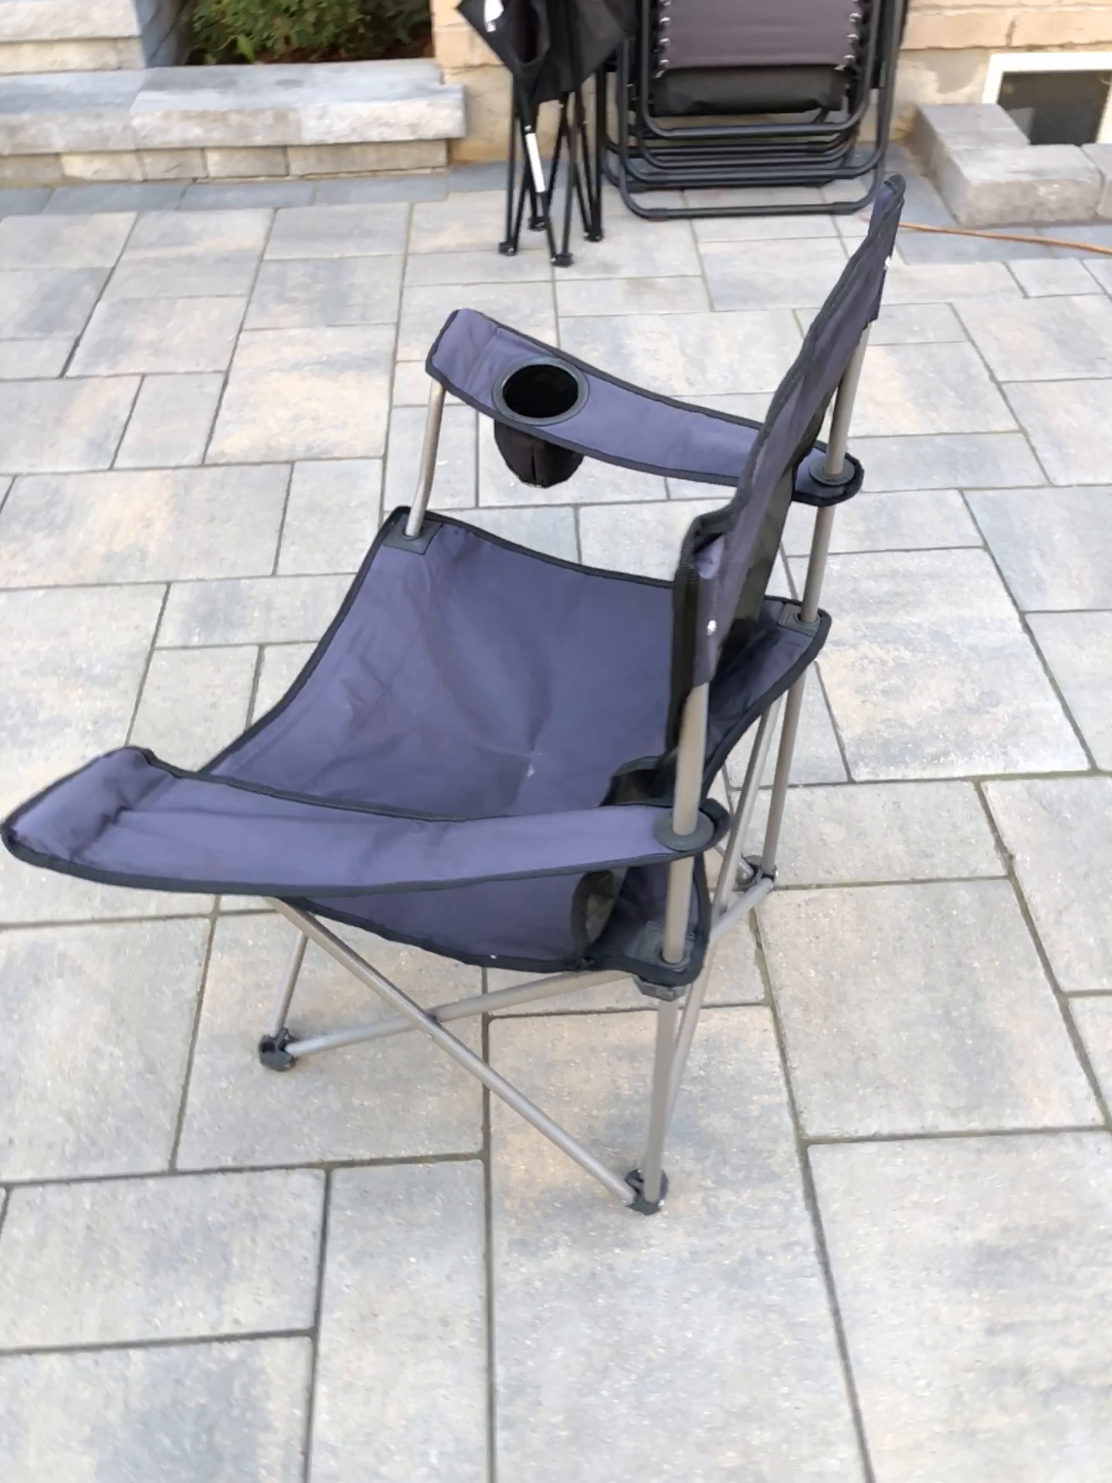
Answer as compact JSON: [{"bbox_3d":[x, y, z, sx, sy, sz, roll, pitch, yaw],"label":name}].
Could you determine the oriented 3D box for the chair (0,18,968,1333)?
[{"bbox_3d":[-0.056,-0.065,1.089,0.570,0.817,0.692,14,47,15],"label":"chair"}]
